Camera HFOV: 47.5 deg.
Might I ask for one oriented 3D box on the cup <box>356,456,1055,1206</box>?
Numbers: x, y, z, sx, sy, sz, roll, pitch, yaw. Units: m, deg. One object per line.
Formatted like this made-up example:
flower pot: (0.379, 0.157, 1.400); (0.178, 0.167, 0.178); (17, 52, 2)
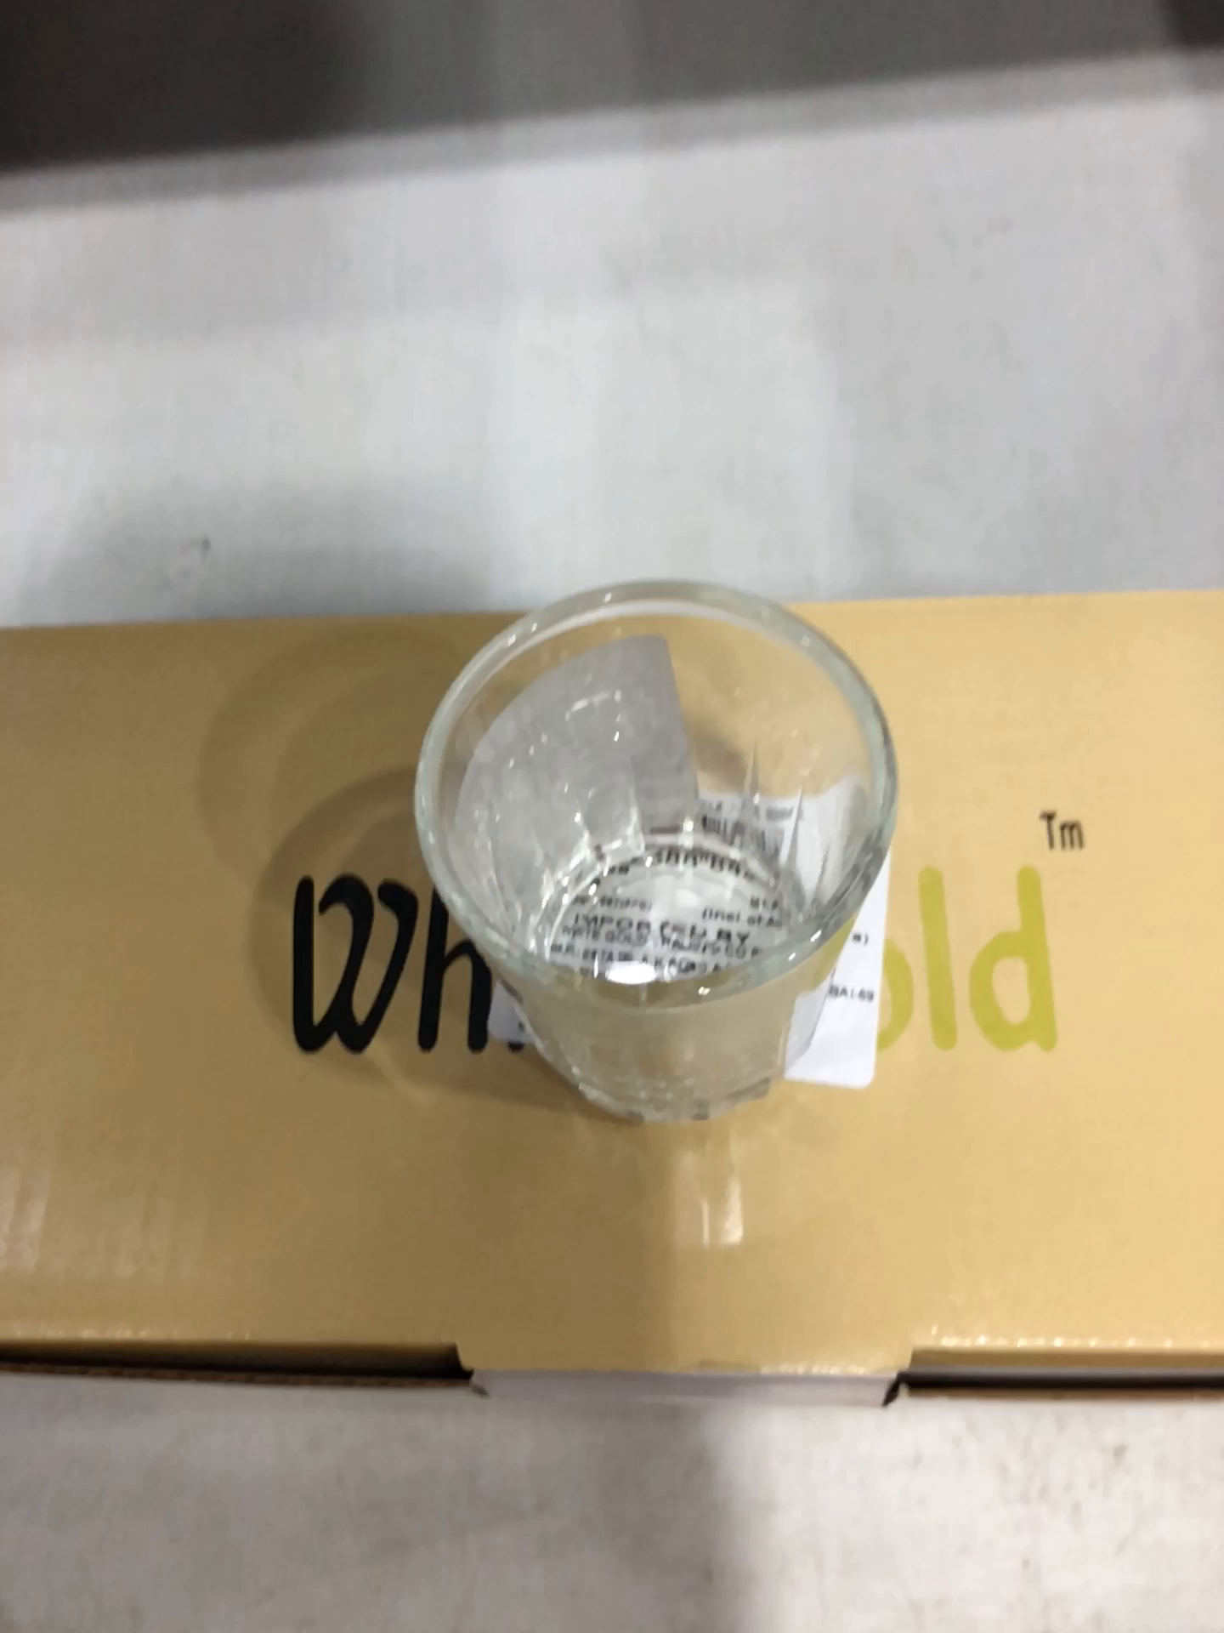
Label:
cup: (0.008, 0.006, 0.150); (0.050, 0.060, 0.050); (-2, 65, 4)
